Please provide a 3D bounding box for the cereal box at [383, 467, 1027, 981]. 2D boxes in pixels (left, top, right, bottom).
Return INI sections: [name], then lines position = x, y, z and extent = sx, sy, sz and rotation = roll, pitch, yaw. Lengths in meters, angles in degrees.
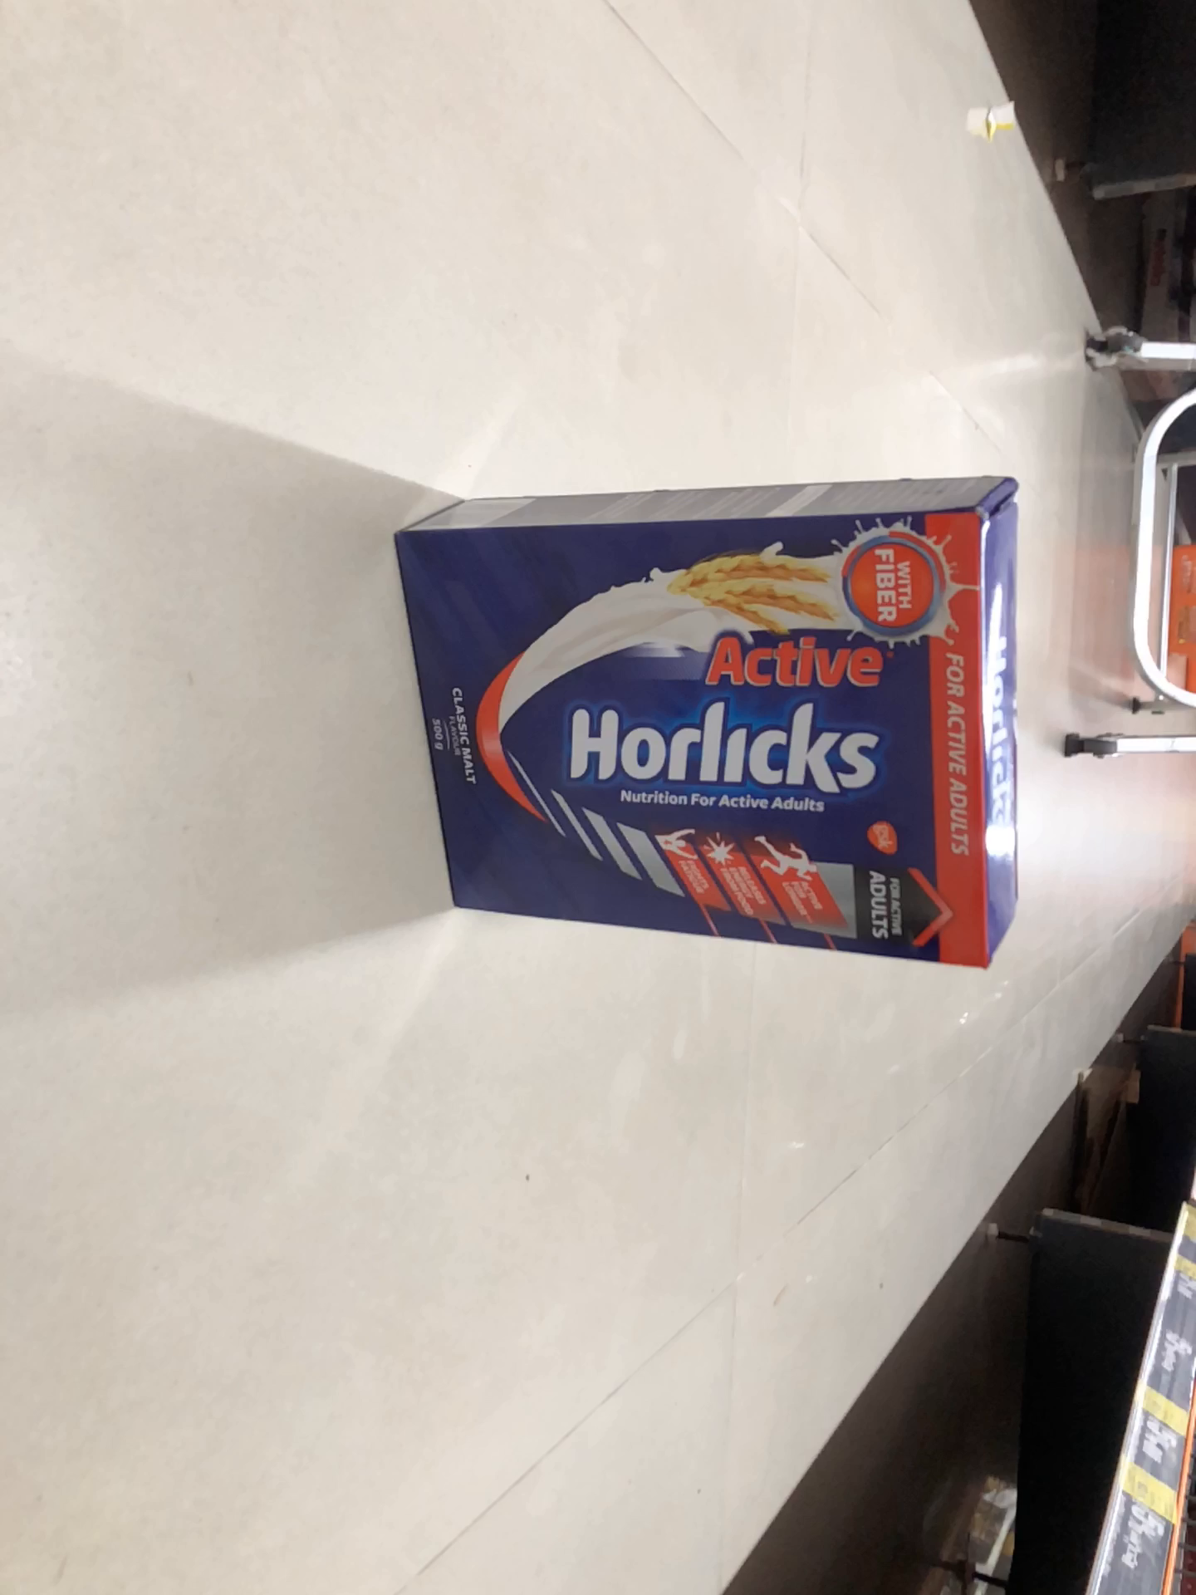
[cereal box]
position = 0.035, -0.027, 0.422
extent = 0.050, 0.189, 0.140
rotation = -41, 129, -55
